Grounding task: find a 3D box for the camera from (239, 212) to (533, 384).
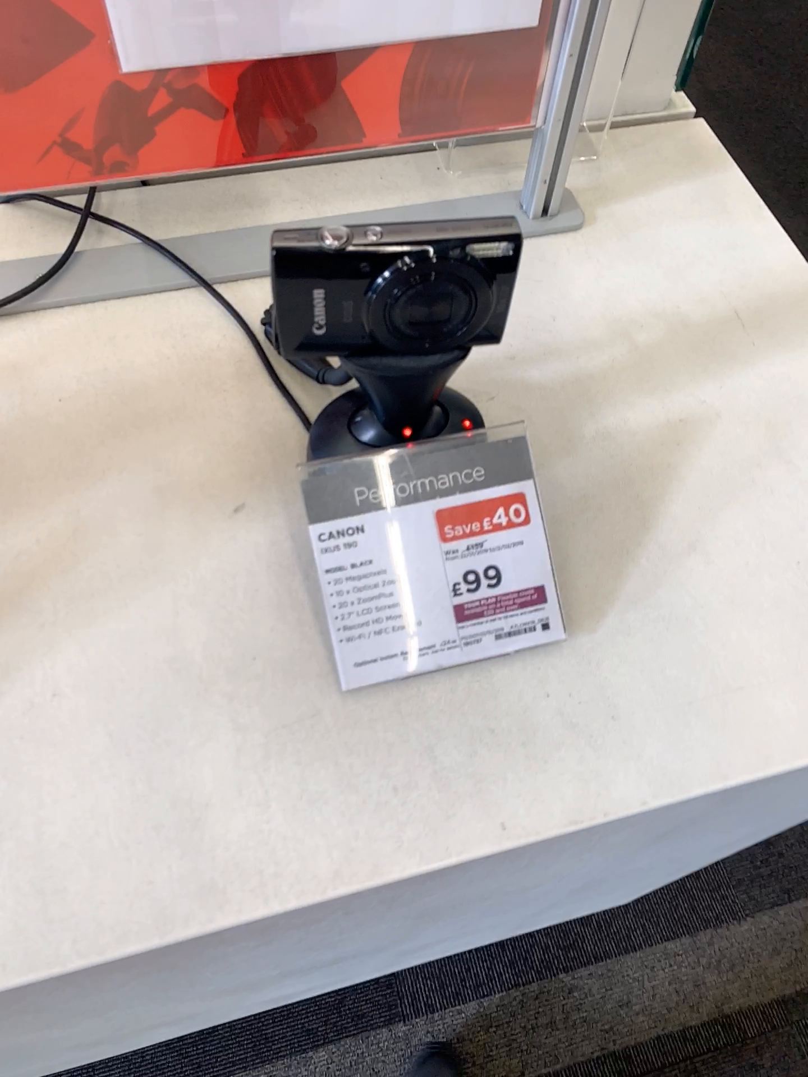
[{"bbox_3d":[-0.008,-0.090,0.310,0.100,0.050,0.030,-5,60,-6],"label":"camera"}]
